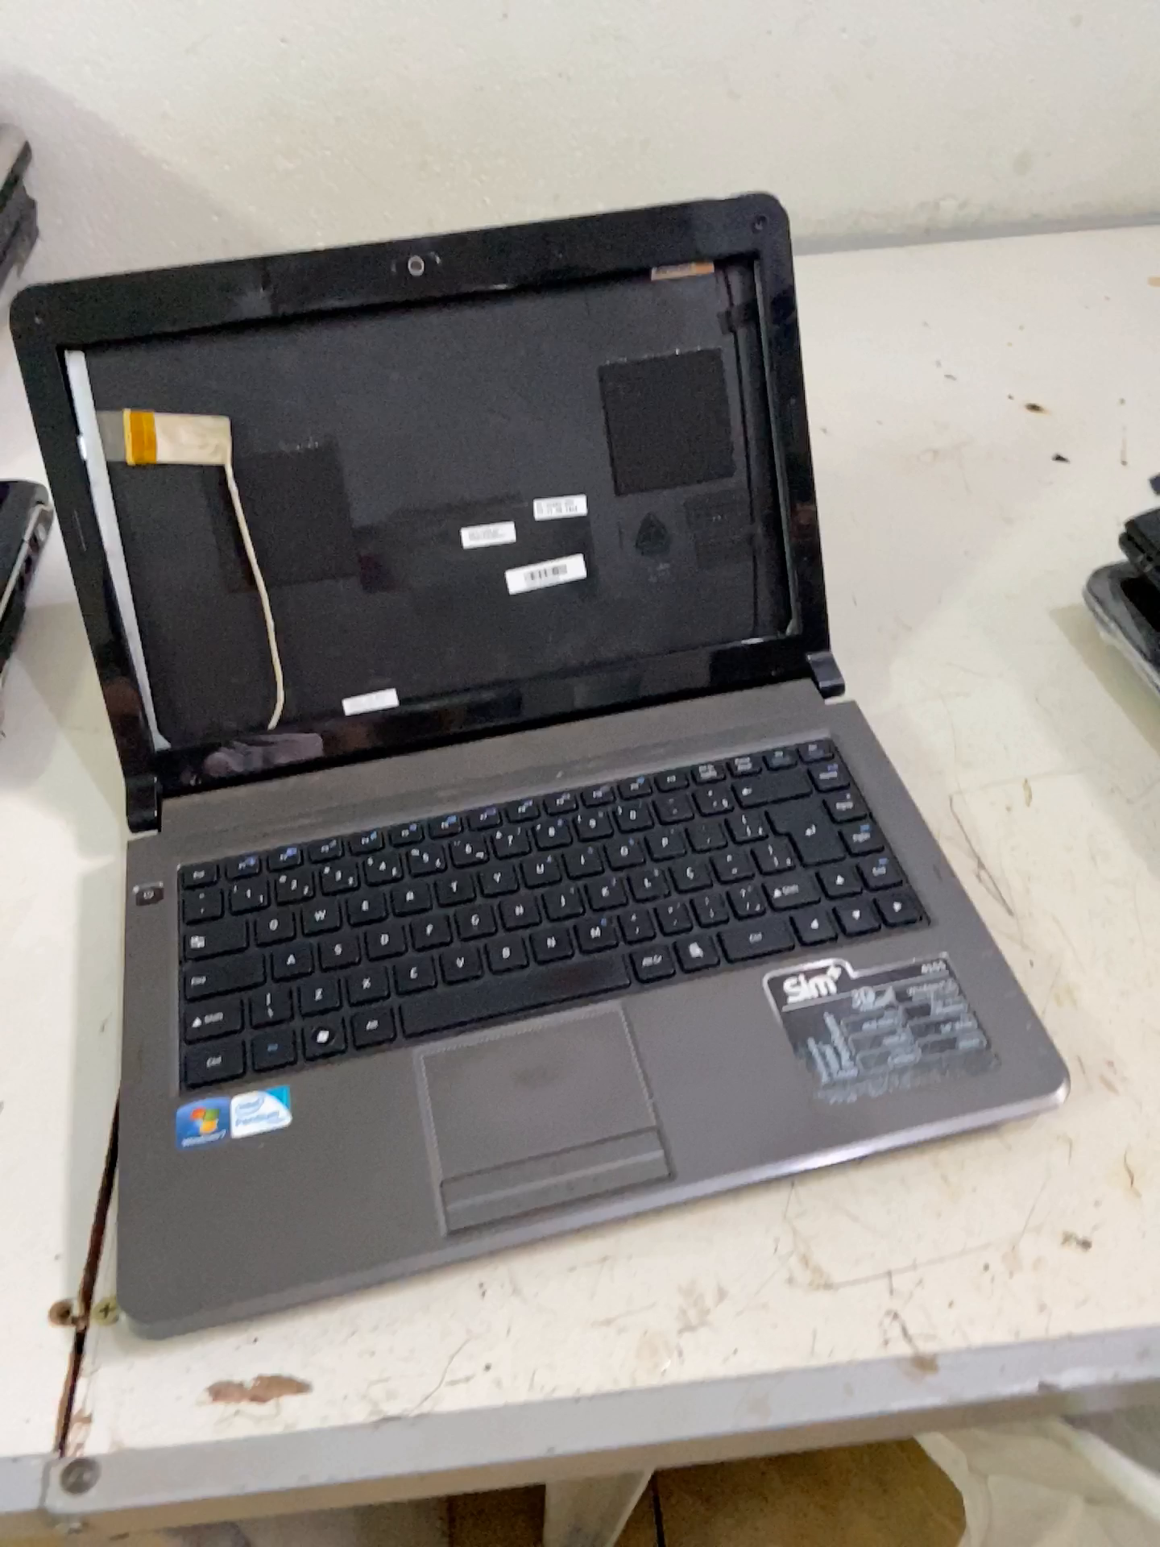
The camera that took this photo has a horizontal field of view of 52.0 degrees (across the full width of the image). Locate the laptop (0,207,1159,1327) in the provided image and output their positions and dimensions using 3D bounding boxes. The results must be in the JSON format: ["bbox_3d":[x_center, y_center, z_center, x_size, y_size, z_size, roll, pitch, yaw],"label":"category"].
[{"bbox_3d":[-0.025,-0.041,0.472,0.343,0.174,0.366,-11,48,-8],"label":"laptop"}]
